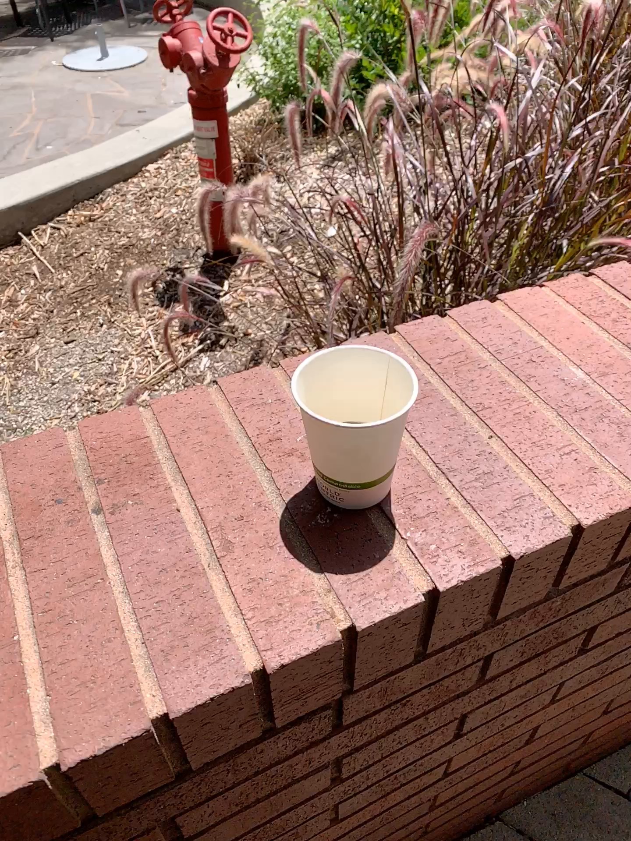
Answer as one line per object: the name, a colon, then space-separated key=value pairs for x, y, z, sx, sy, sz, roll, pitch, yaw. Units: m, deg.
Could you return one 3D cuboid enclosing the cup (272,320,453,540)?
cup: x=0.034 y=0.006 z=0.492 sx=0.090 sy=0.109 sz=0.090 roll=-1 pitch=44 yaw=1
